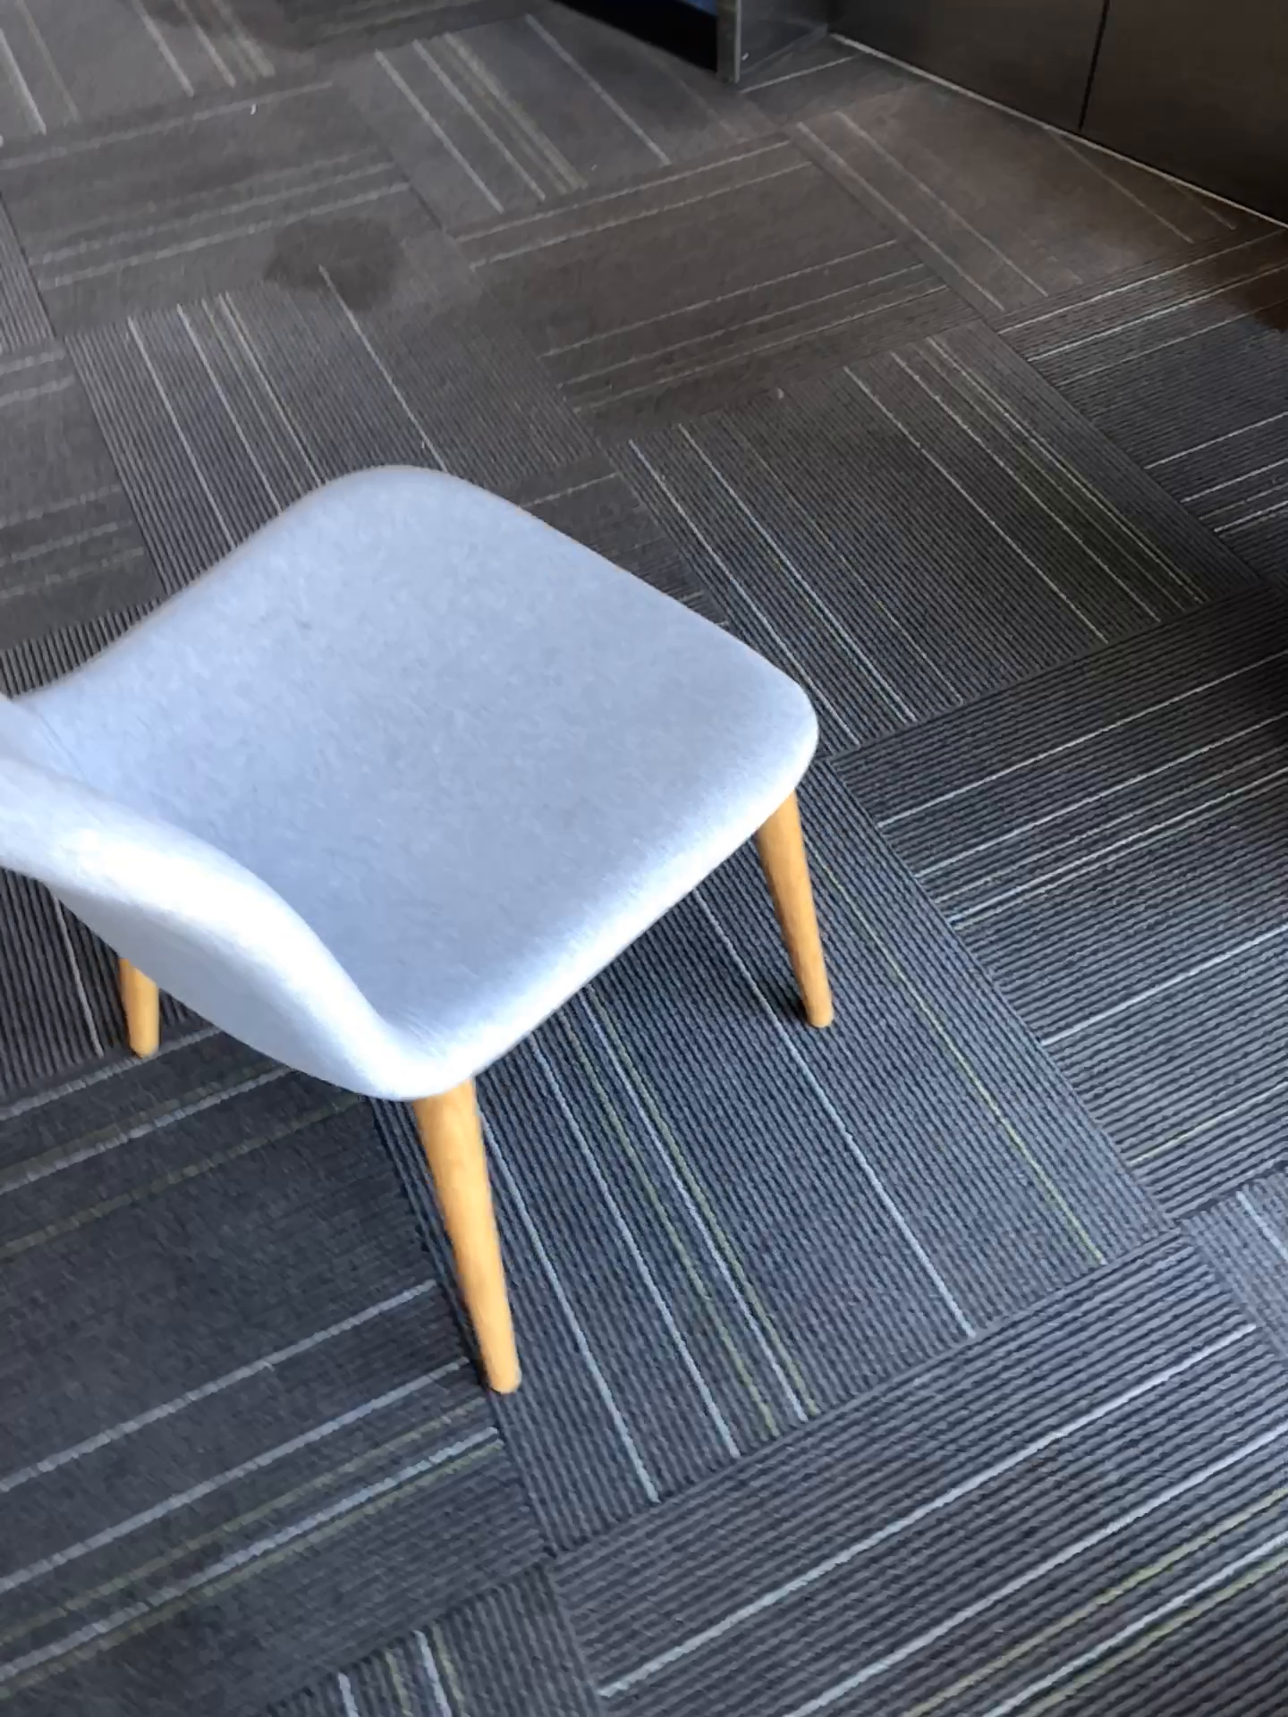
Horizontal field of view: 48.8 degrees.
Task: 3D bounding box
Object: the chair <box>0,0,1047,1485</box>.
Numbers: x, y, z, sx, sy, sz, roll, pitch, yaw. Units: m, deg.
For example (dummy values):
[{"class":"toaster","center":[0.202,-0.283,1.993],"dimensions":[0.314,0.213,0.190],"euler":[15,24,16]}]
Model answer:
[{"class":"chair","center":[-0.197,-0.084,1.010],"dimensions":[0.561,0.848,0.611],"euler":[37,66,25]}]
